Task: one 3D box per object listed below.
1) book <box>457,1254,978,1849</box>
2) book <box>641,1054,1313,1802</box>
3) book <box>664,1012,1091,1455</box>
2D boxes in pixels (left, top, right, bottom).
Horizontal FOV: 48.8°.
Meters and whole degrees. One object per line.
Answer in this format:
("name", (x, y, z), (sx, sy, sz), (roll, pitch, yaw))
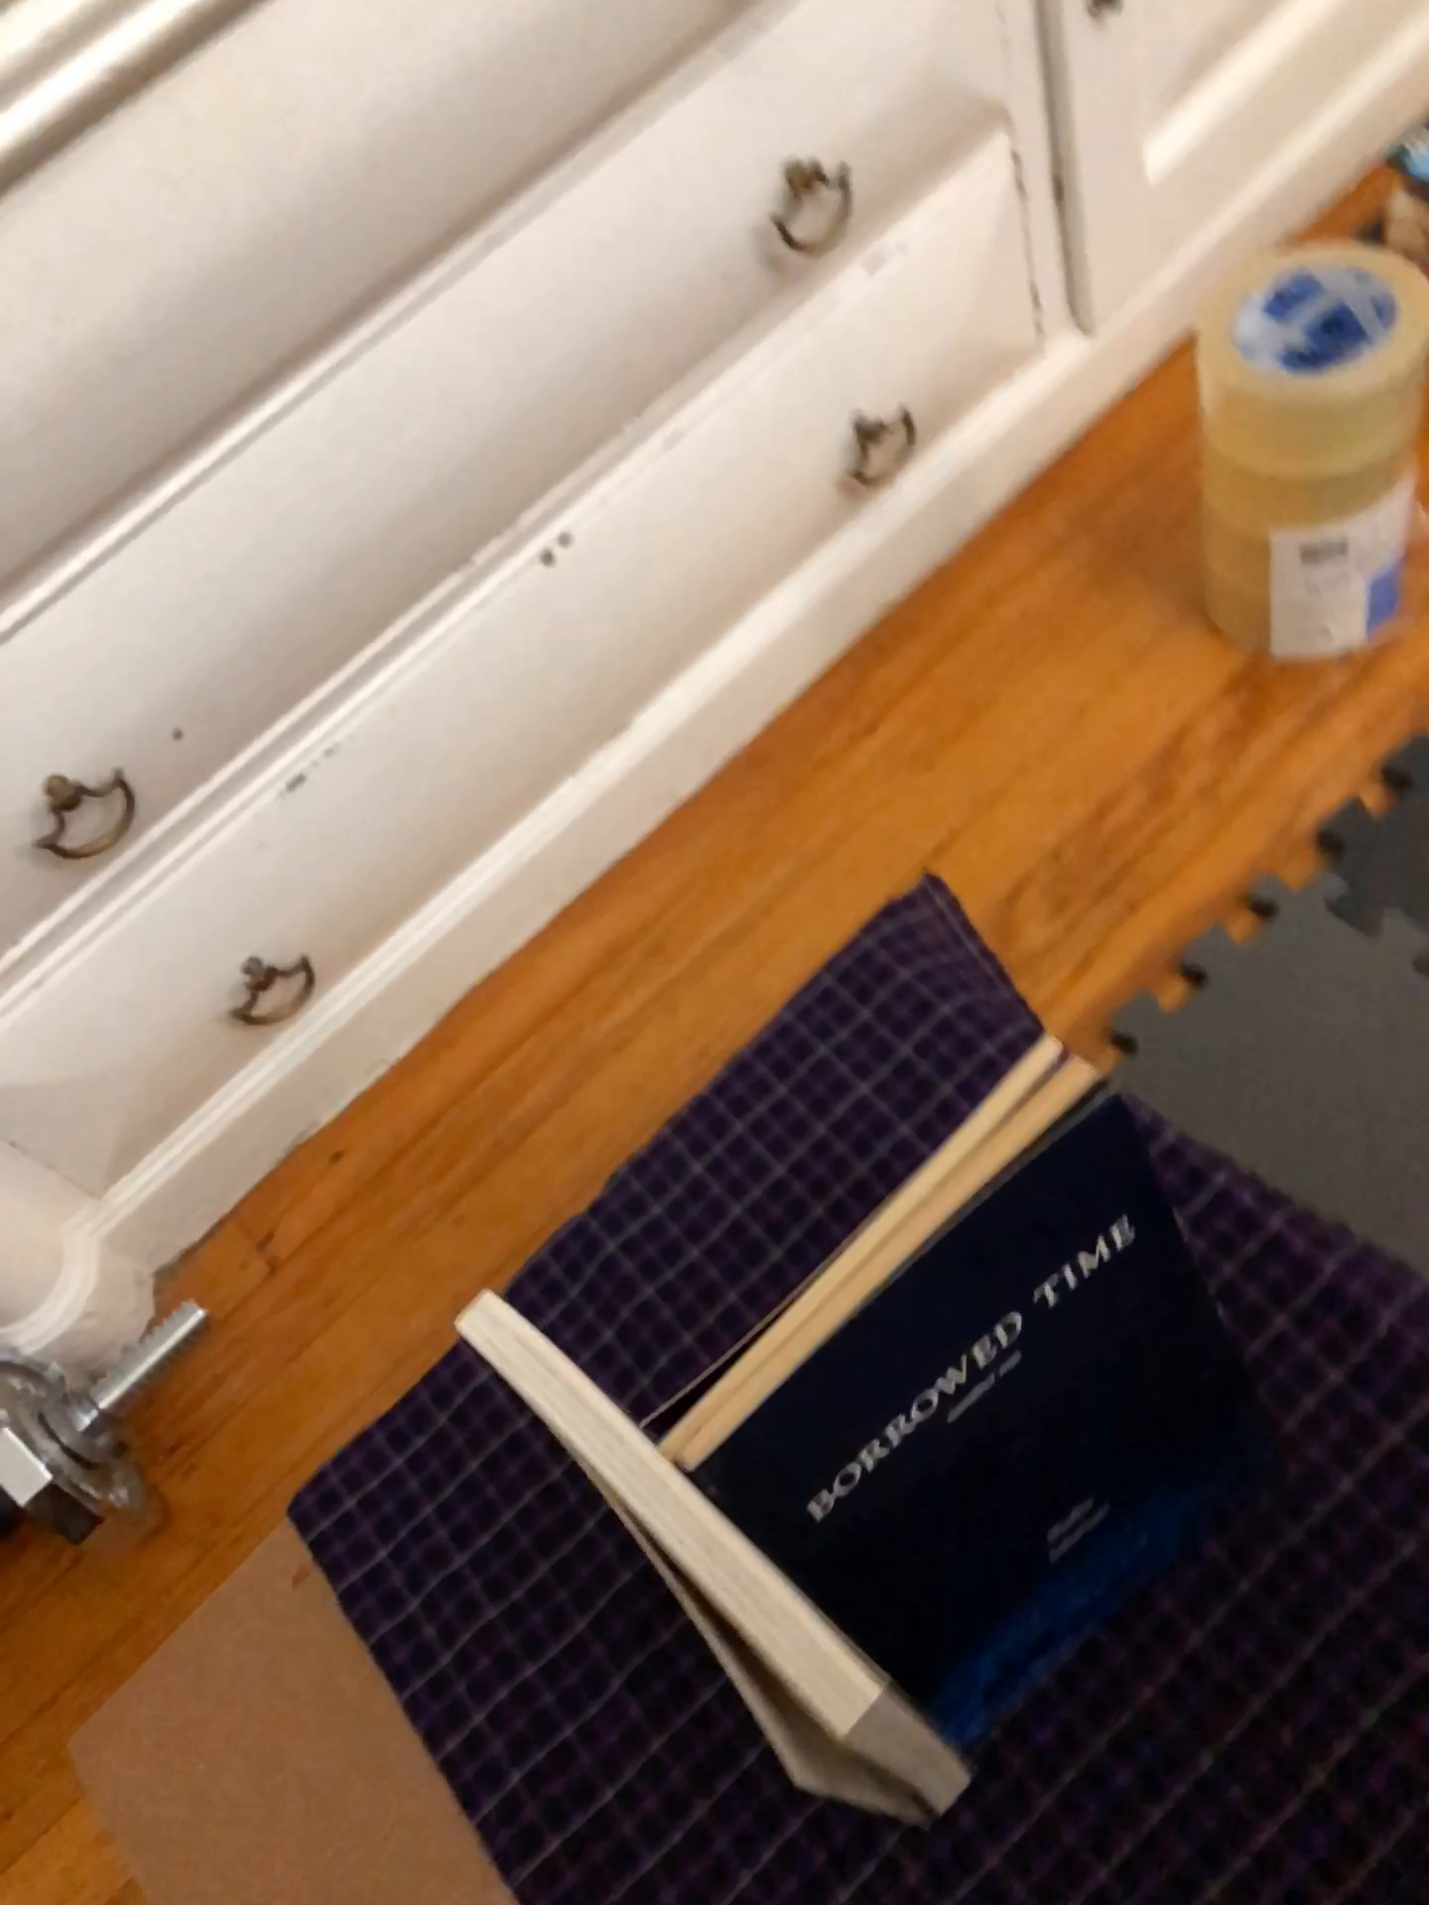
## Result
("book", (0.008, 0.174, 0.441), (0.020, 0.189, 0.140), (-42, 56, -16))
("book", (0.087, 0.143, 0.440), (0.150, 0.199, 0.010), (-41, 36, -9))
("book", (0.048, 0.095, 0.479), (0.140, 0.200, 0.010), (-45, 75, -8))
